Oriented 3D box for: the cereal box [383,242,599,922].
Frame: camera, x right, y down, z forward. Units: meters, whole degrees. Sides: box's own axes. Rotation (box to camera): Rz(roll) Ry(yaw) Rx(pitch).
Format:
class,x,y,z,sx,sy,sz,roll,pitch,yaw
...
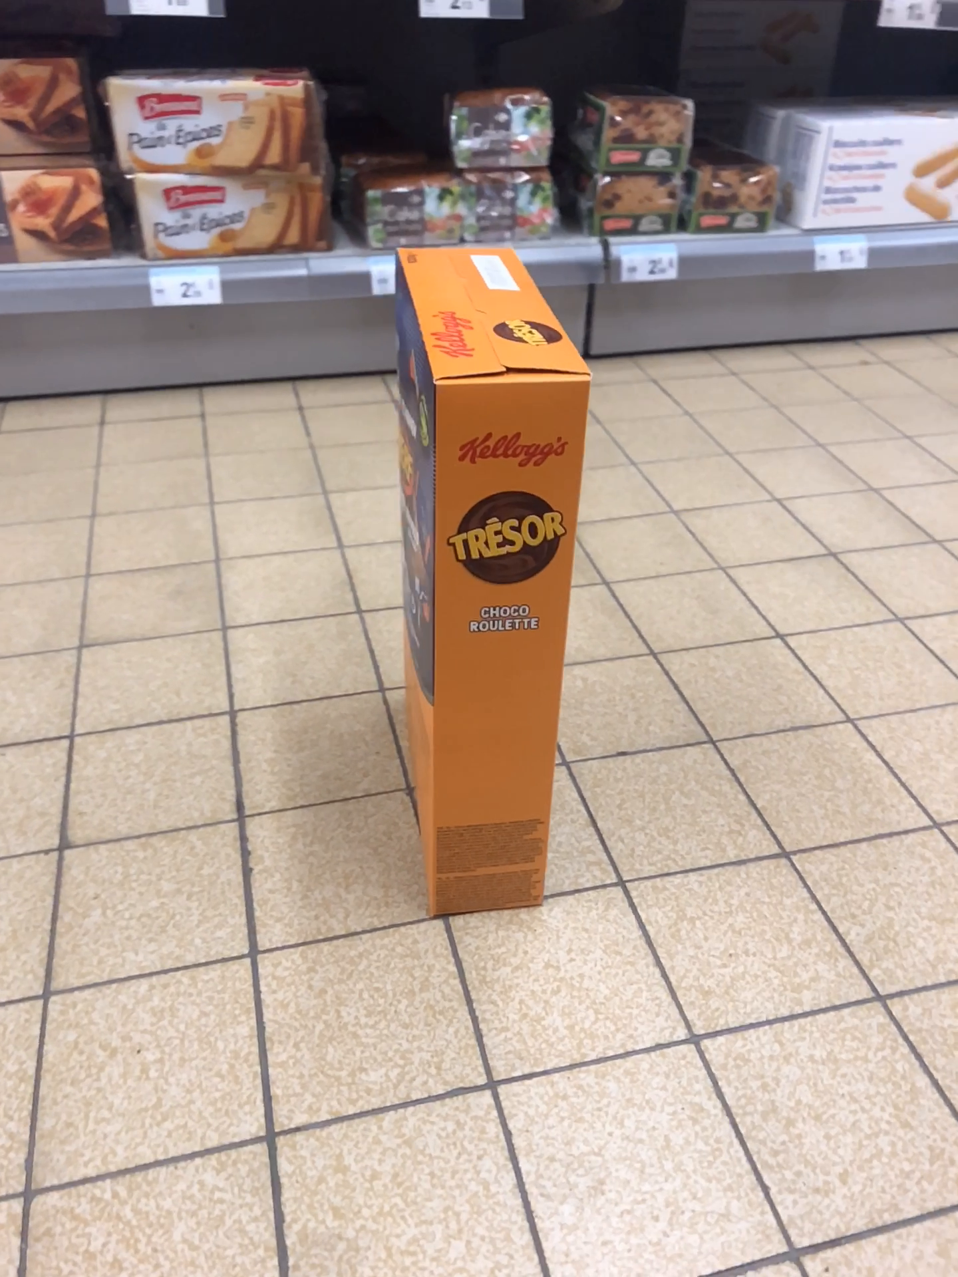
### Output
class,x,y,z,sx,sy,sz,roll,pitch,yaw
cereal box,-0.006,-0.033,0.557,0.070,0.288,0.211,-3,34,-7
